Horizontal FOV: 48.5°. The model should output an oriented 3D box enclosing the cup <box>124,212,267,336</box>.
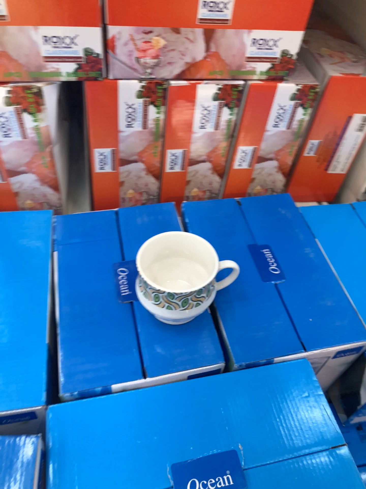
[{"bbox_3d":[0.005,0.023,0.346,0.100,0.060,0.070,-7,49,-14],"label":"cup"}]
